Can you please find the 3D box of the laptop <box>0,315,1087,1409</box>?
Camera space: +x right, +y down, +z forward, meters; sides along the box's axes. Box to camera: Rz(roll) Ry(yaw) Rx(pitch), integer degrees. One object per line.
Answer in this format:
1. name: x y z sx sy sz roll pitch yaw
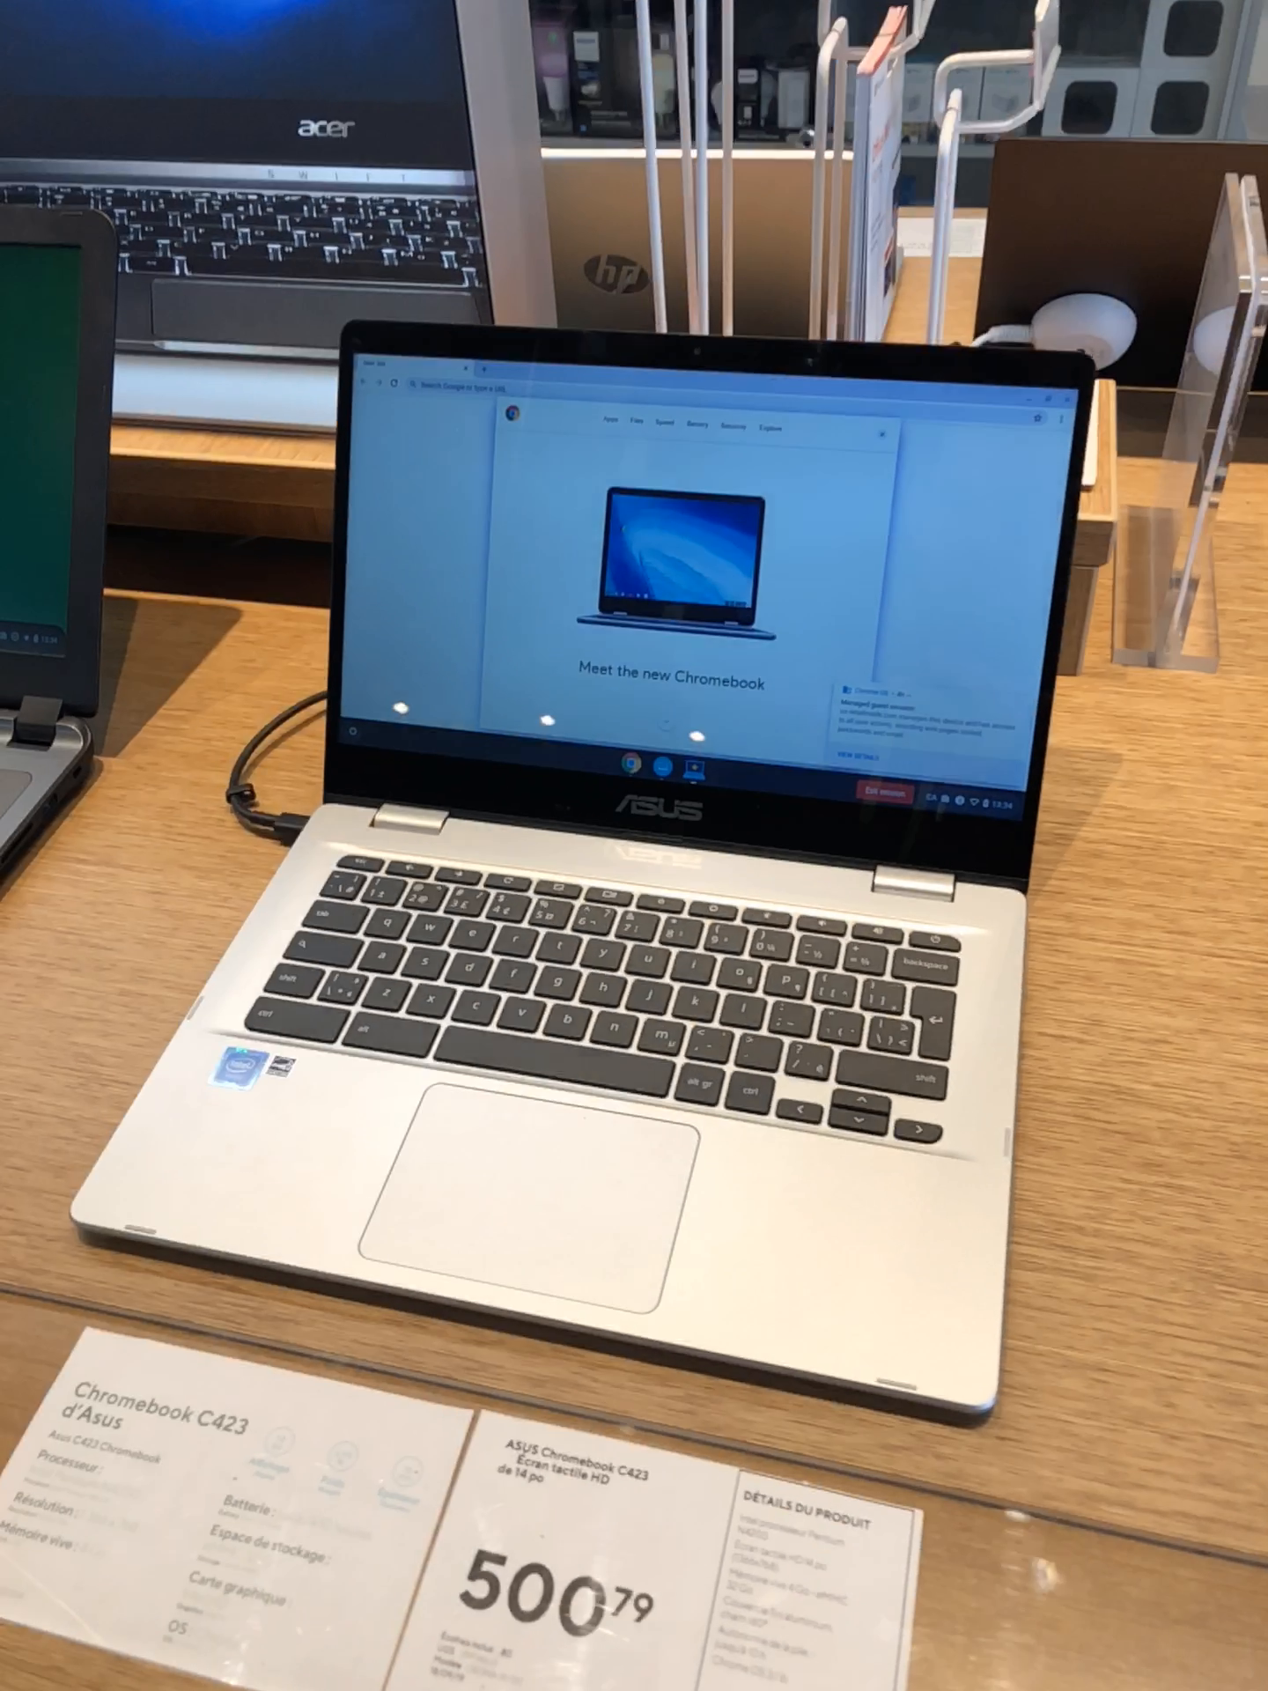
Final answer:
1. laptop: -0.007 -0.028 0.503 0.281 0.186 0.337 7 42 9
